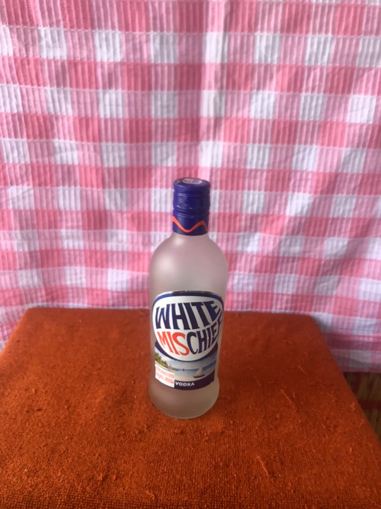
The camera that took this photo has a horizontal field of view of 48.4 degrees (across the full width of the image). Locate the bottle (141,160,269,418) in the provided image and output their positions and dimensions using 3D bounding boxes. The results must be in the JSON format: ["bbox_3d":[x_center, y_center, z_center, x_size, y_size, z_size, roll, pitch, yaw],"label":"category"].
[{"bbox_3d":[0.005,0.032,0.349,0.080,0.199,0.070,3,25,-2],"label":"bottle"}]
